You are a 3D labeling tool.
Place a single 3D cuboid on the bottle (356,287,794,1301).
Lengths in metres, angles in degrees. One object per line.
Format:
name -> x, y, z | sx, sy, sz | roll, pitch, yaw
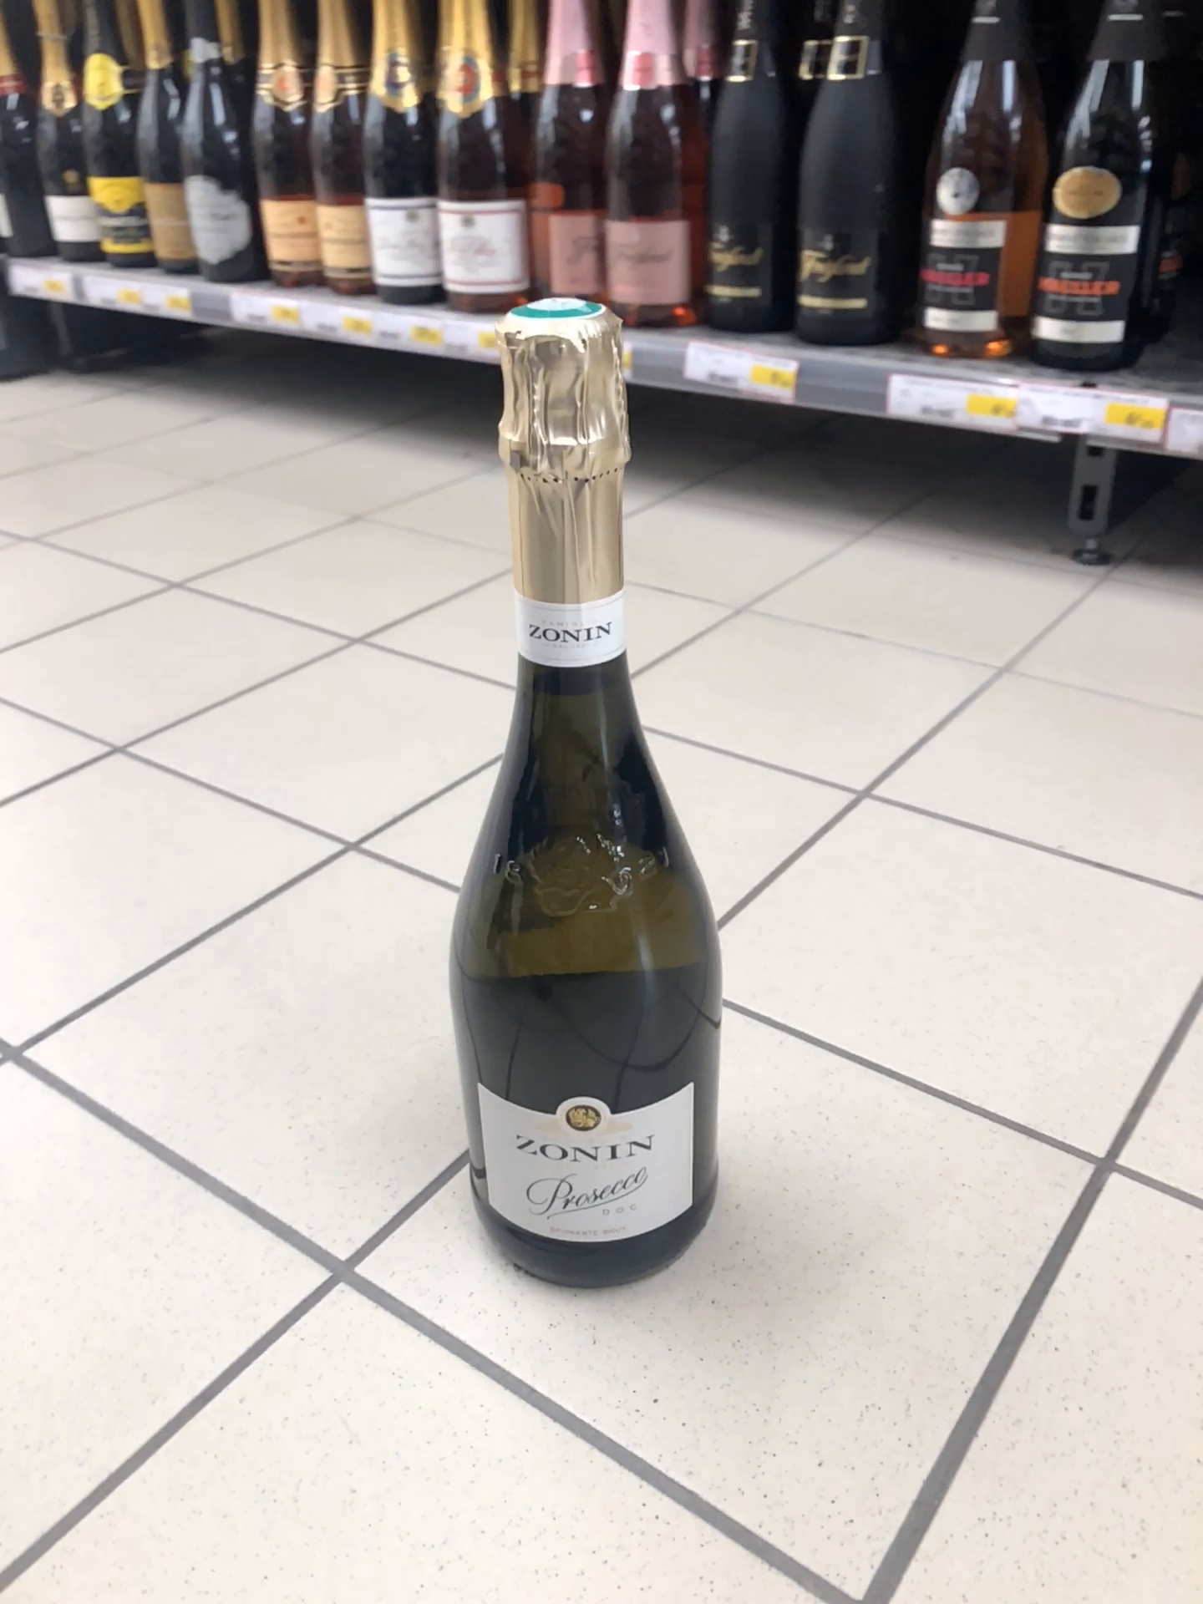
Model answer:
bottle -> -0.002, 0.010, 0.416 | 0.100, 0.308, 0.091 | -2, 28, 0
